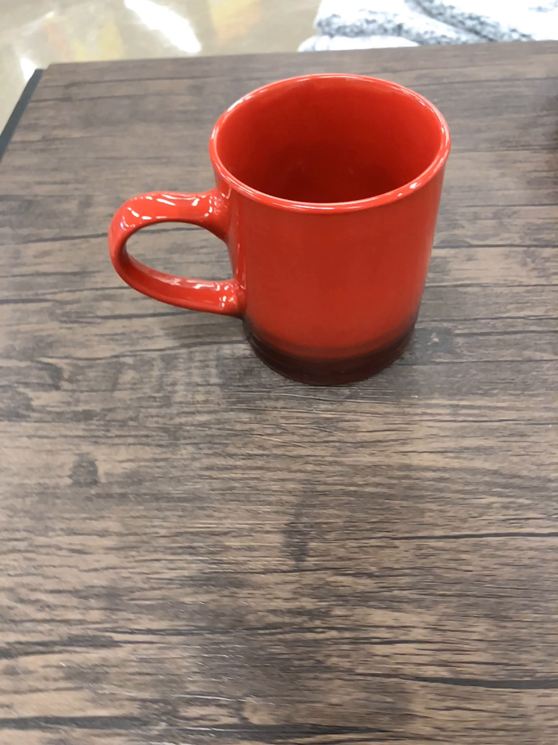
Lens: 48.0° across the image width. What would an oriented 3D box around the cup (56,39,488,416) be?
[{"bbox_3d":[-0.003,-0.060,0.276,0.140,0.110,0.100,-6,52,0],"label":"cup"}]
